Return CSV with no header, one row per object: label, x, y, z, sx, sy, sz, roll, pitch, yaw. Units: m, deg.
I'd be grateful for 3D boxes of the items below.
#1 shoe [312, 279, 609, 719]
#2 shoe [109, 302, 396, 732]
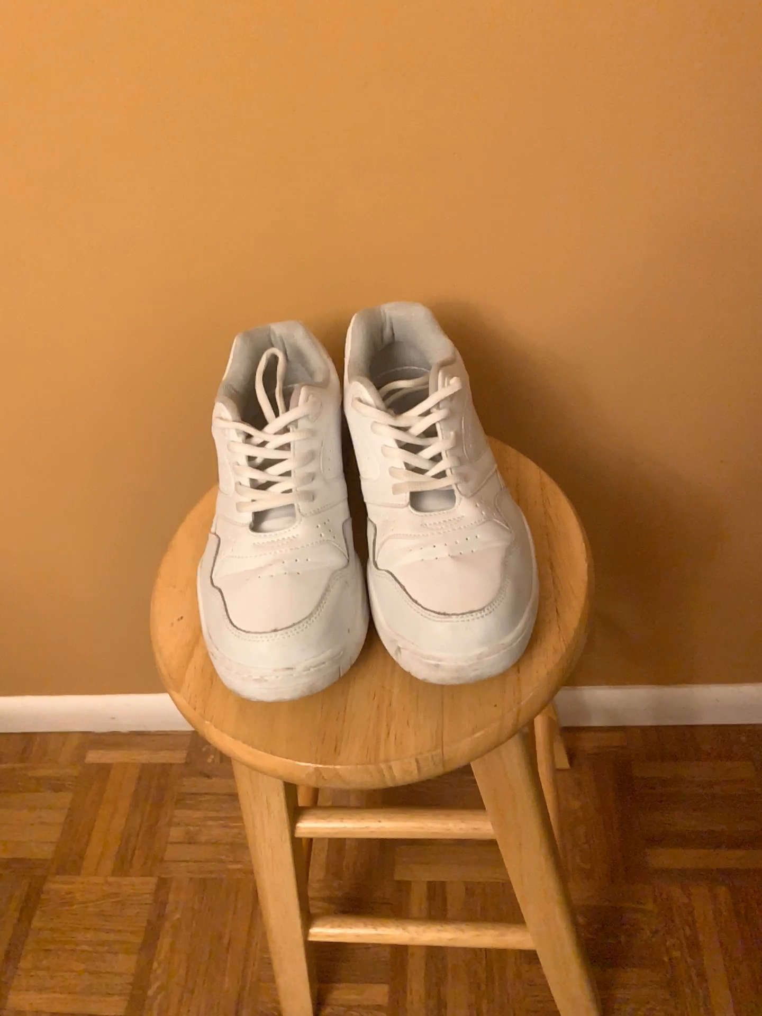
shoe,0.037,-0.022,0.509,0.120,0.109,0.271,-12,45,-1
shoe,-0.067,-0.009,0.516,0.130,0.109,0.271,-6,45,4
